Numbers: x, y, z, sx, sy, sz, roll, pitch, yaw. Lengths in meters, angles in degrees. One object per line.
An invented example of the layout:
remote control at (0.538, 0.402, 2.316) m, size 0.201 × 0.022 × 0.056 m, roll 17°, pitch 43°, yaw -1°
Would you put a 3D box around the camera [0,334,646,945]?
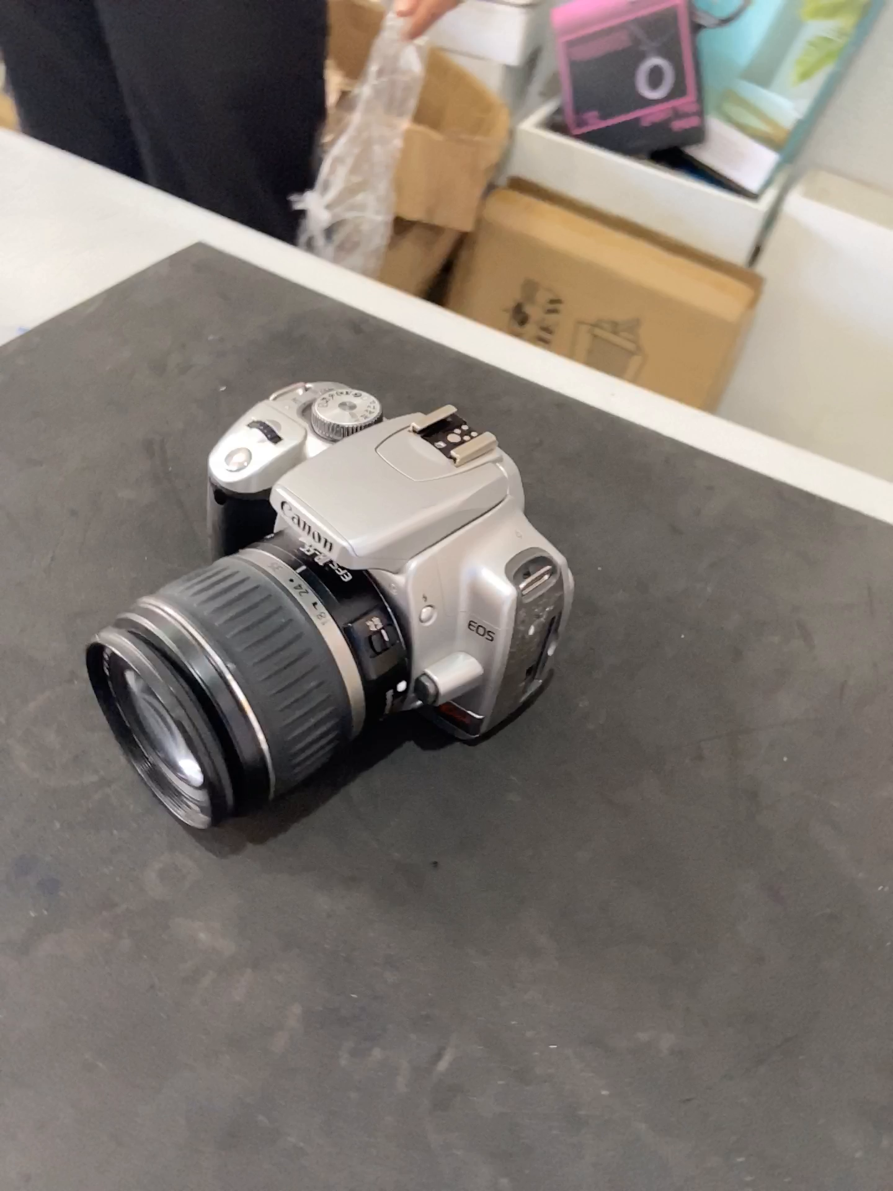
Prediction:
camera at (-0.036, 0.001, 0.287) m, size 0.120 × 0.079 × 0.141 m, roll 36°, pitch 48°, yaw 23°
